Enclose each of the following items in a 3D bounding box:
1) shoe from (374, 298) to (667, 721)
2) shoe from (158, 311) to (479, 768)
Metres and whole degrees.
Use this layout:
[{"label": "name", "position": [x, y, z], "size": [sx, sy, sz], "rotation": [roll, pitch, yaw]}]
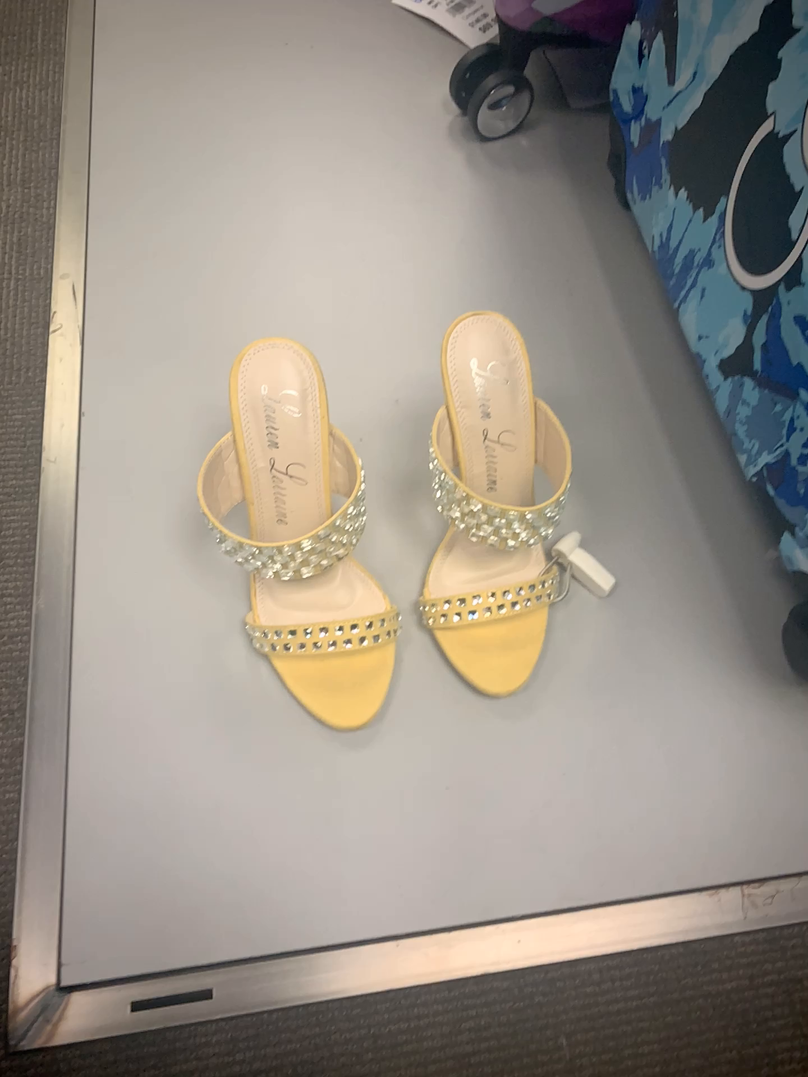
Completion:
[{"label": "shoe", "position": [0.050, -0.012, 0.460], "size": [0.110, 0.116, 0.199], "rotation": [-4, 71, -7]}, {"label": "shoe", "position": [-0.050, 0.004, 0.445], "size": [0.116, 0.115, 0.202], "rotation": [-10, 72, -9]}]
